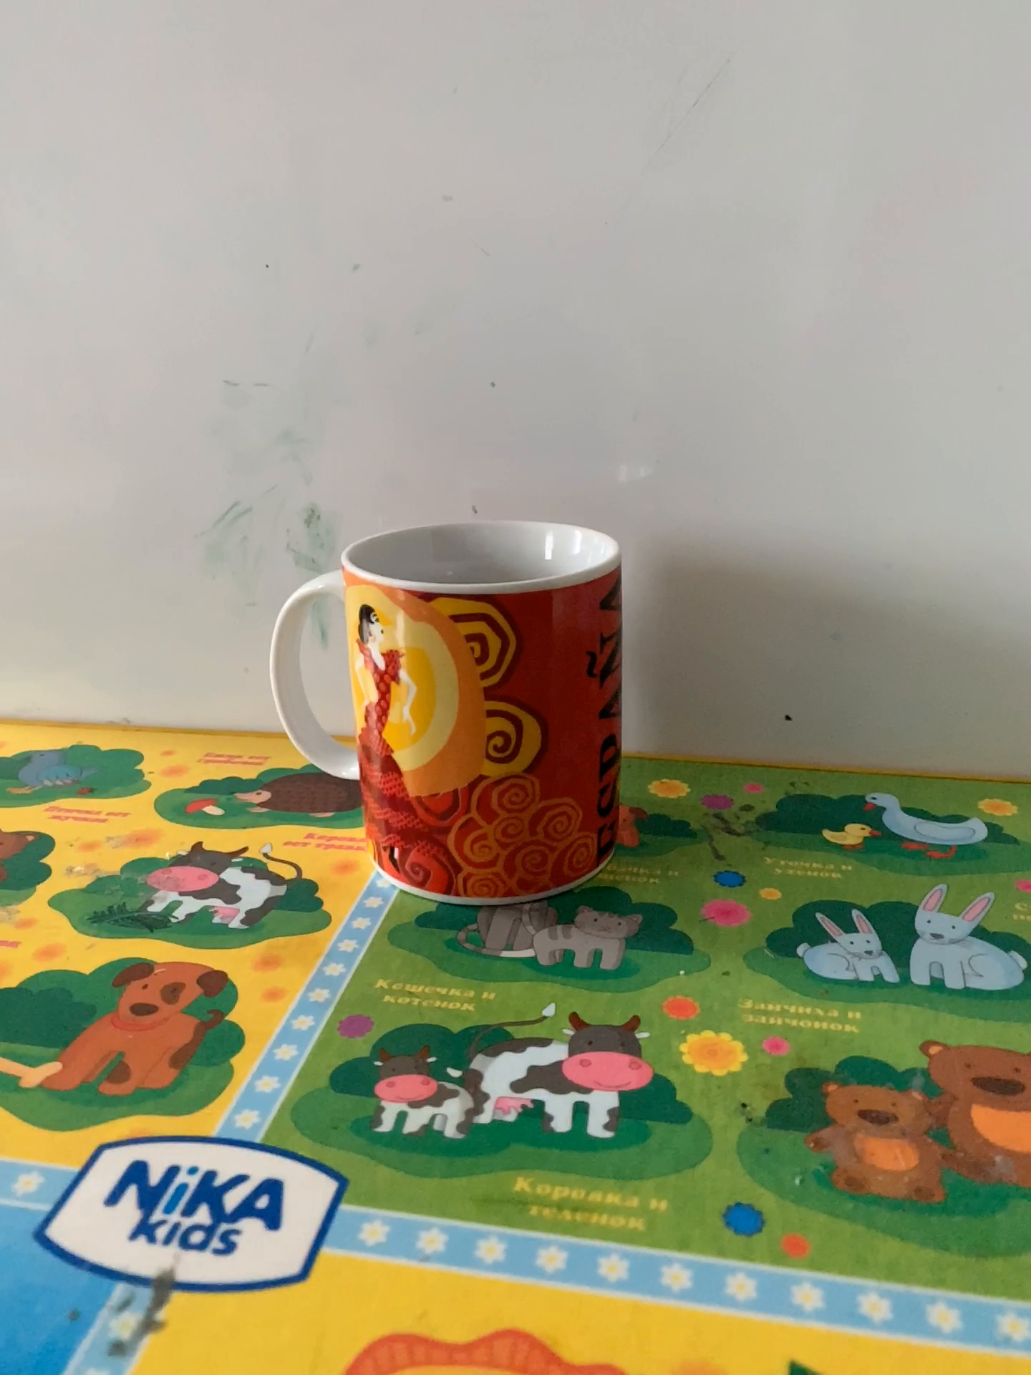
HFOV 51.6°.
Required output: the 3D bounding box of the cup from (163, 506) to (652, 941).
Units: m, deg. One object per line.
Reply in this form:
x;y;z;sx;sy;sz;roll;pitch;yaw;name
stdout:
-0.024;0.004;0.319;0.118;0.098;0.085;3;20;13;cup
